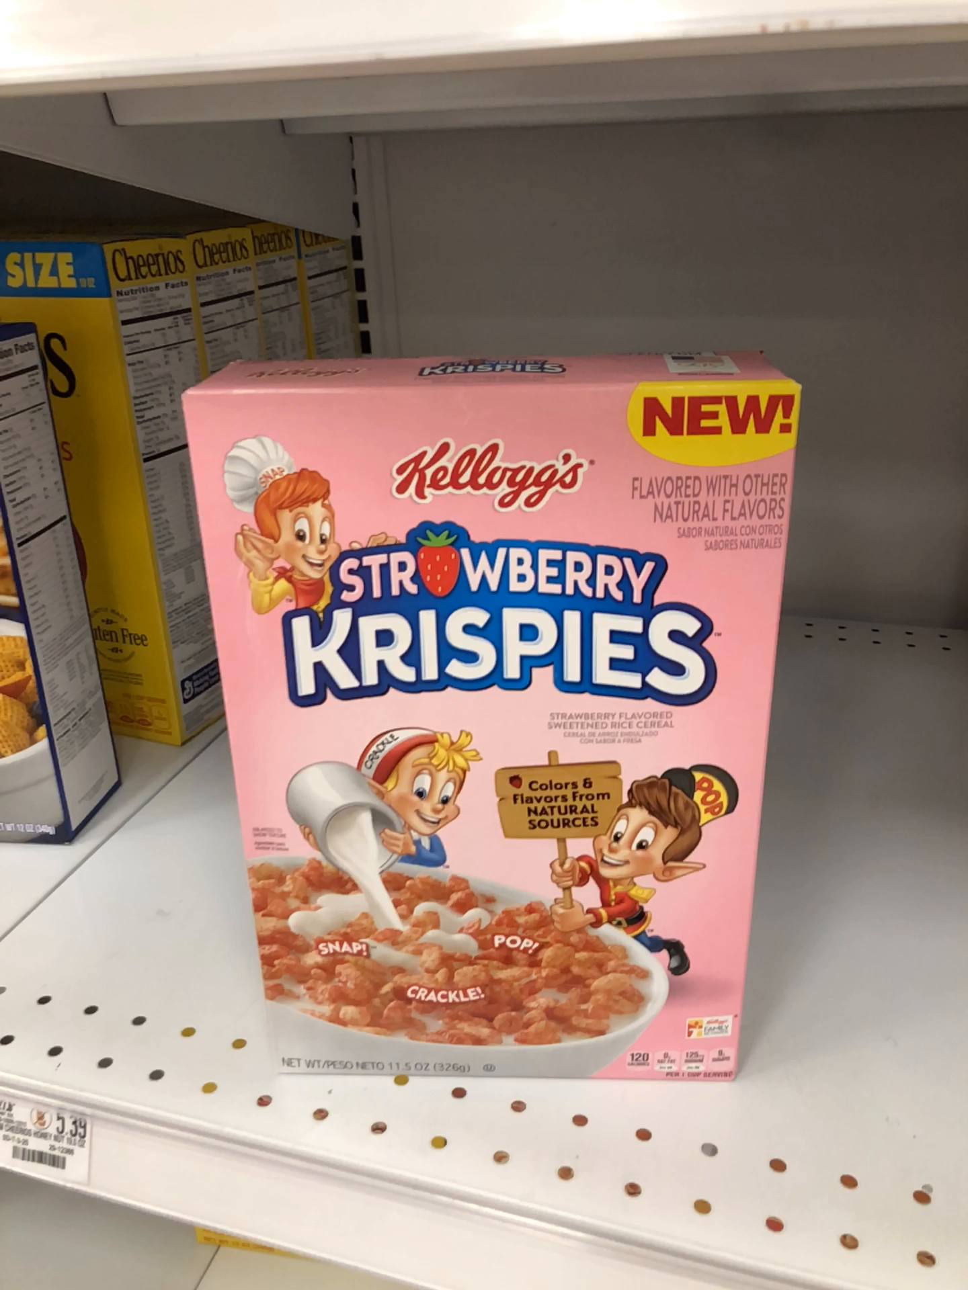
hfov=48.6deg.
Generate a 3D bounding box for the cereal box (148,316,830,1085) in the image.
[{"bbox_3d":[0.008,0.034,0.408,0.200,0.289,0.070,-1,26,4],"label":"cereal box"}]
